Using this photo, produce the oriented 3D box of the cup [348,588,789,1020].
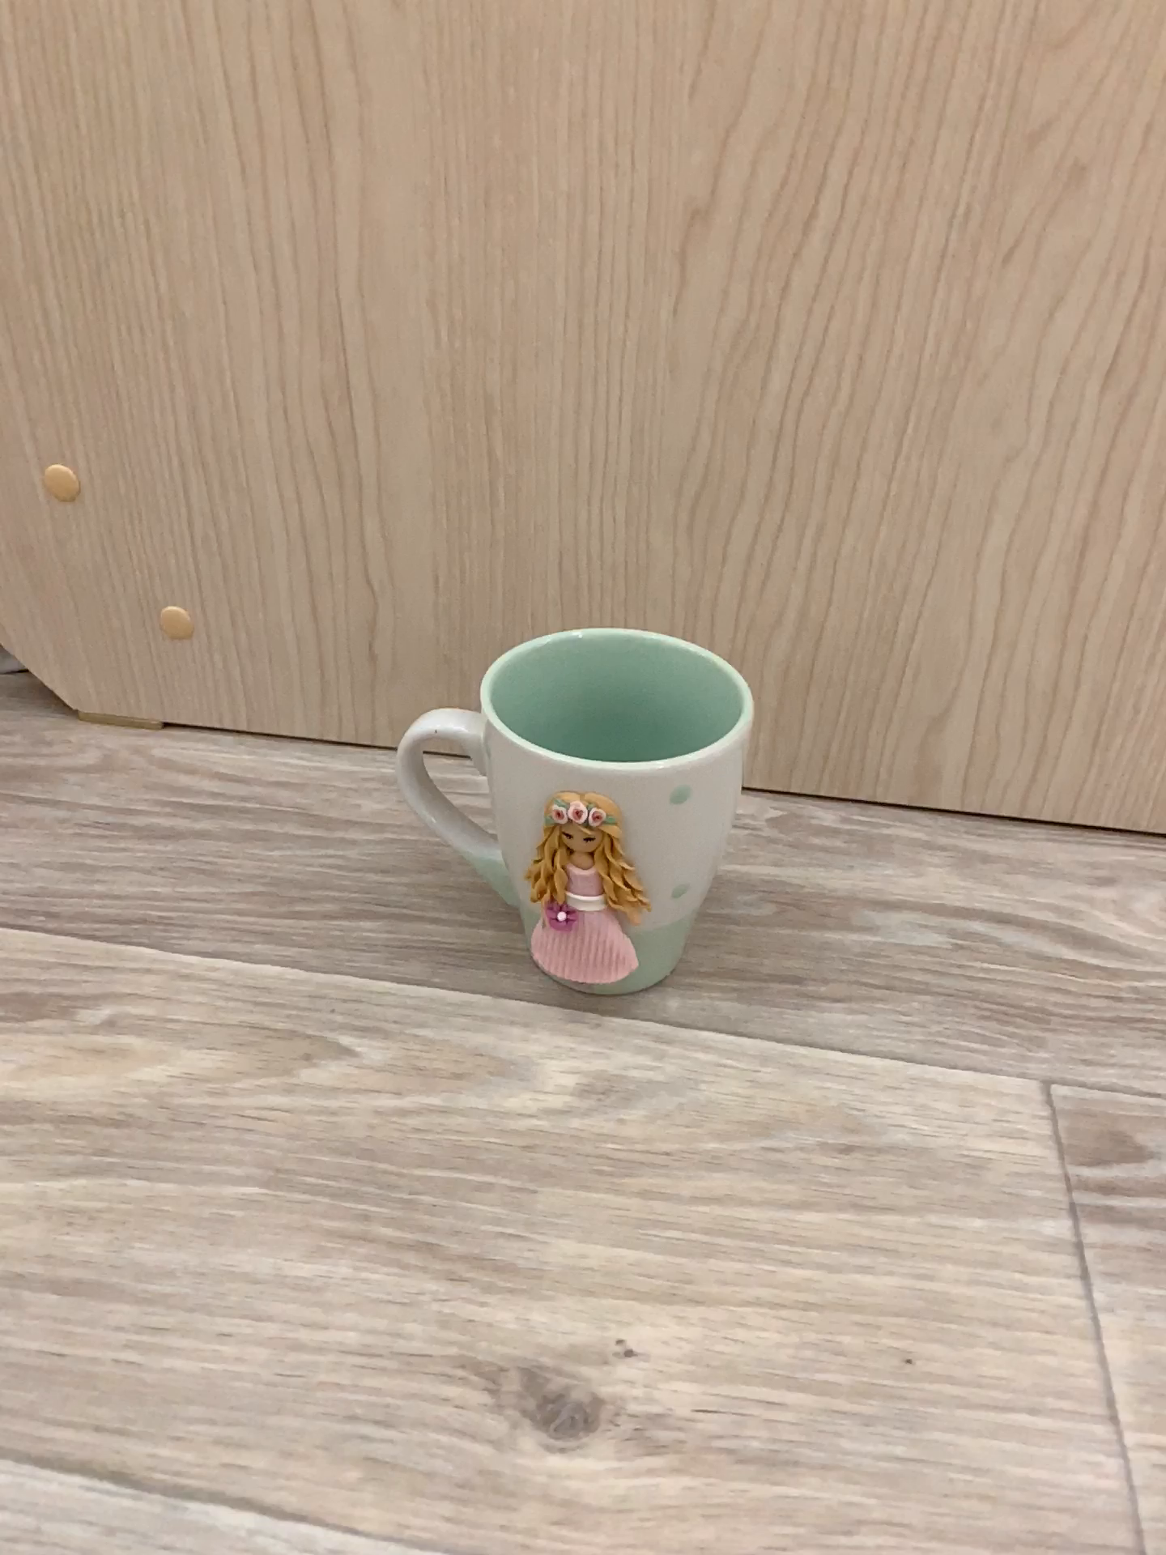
[{"bbox_3d":[0.000,0.004,0.366,0.111,0.080,0.093,7,33,7],"label":"cup"}]
